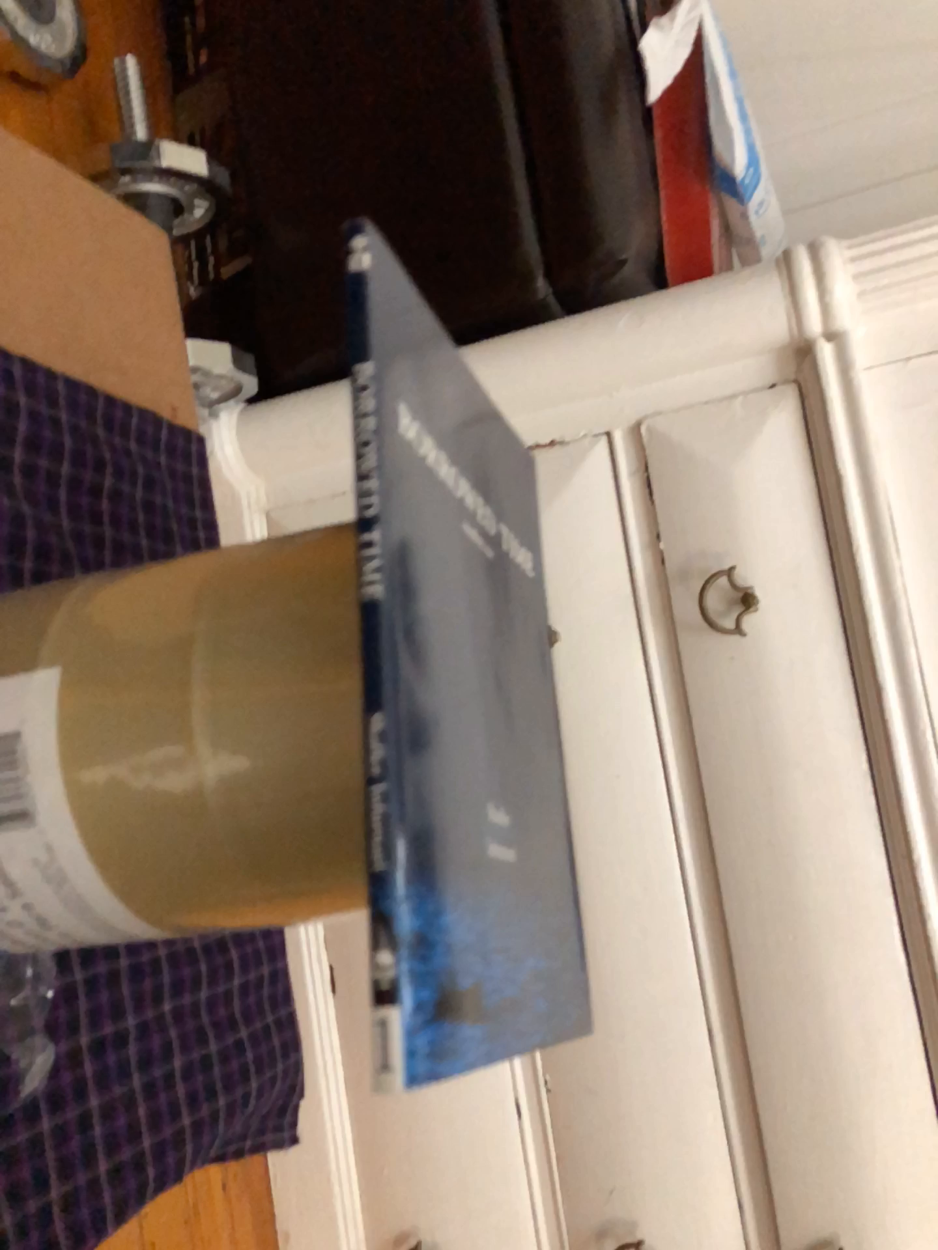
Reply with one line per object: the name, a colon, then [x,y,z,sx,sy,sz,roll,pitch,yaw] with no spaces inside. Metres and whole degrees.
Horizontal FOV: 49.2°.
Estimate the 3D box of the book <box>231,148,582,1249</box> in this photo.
book: [-0.011,0.022,0.267,0.160,0.010,0.230,41,39,-63]
